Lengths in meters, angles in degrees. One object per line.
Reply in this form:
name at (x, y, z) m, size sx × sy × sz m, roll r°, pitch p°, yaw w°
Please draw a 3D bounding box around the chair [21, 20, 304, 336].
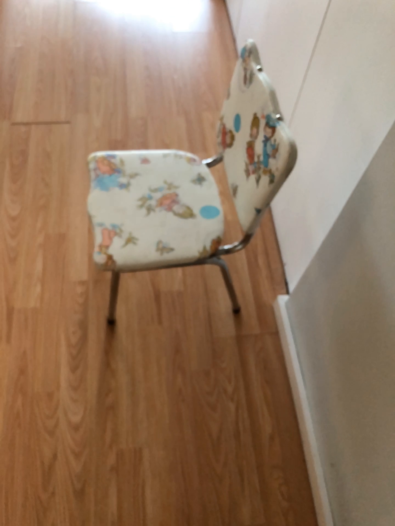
chair at (-0.085, -0.132, 0.934) m, size 0.390 × 0.559 × 0.351 m, roll -6°, pitch 62°, yaw -7°
